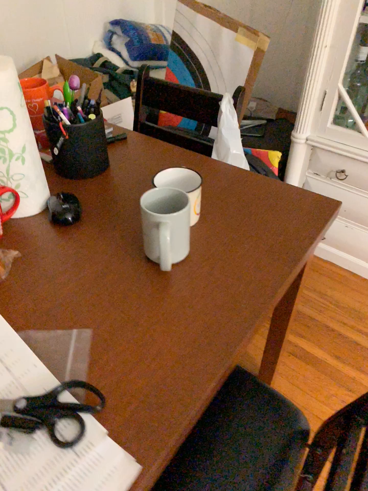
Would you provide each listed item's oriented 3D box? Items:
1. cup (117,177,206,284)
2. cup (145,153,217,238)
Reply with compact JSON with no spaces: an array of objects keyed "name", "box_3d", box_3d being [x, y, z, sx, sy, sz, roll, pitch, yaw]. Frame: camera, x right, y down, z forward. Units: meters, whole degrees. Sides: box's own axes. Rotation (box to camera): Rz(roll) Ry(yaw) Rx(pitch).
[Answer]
[{"name":"cup","box_3d":[-0.032,-0.030,0.640,0.100,0.099,0.141,12,42,13]},{"name":"cup","box_3d":[-0.003,-0.102,0.750,0.100,0.099,0.131,12,42,14]}]
